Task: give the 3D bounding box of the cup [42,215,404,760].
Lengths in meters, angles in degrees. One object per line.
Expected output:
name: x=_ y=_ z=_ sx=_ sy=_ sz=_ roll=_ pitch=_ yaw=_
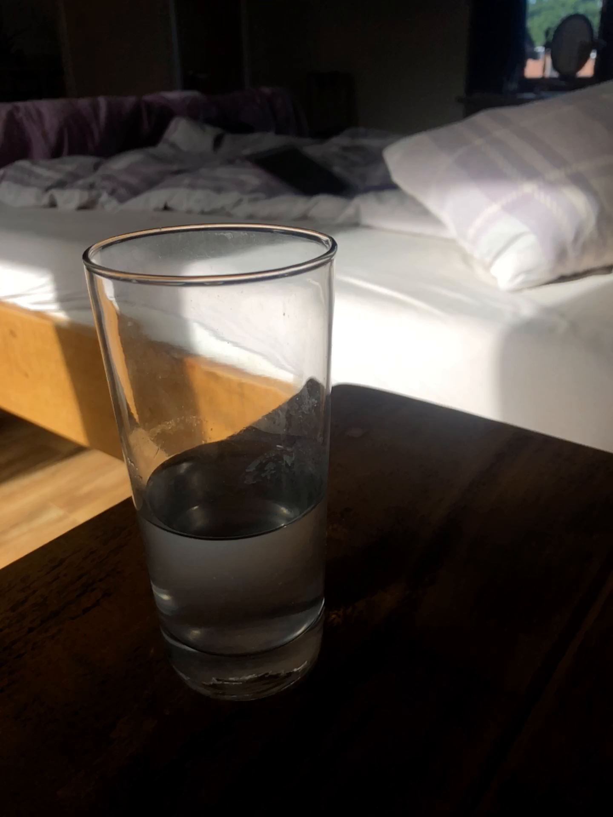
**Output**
cup: x=-0.019 y=0.021 z=0.231 sx=0.077 sy=0.152 sz=0.074 roll=-1 pitch=25 yaw=1
